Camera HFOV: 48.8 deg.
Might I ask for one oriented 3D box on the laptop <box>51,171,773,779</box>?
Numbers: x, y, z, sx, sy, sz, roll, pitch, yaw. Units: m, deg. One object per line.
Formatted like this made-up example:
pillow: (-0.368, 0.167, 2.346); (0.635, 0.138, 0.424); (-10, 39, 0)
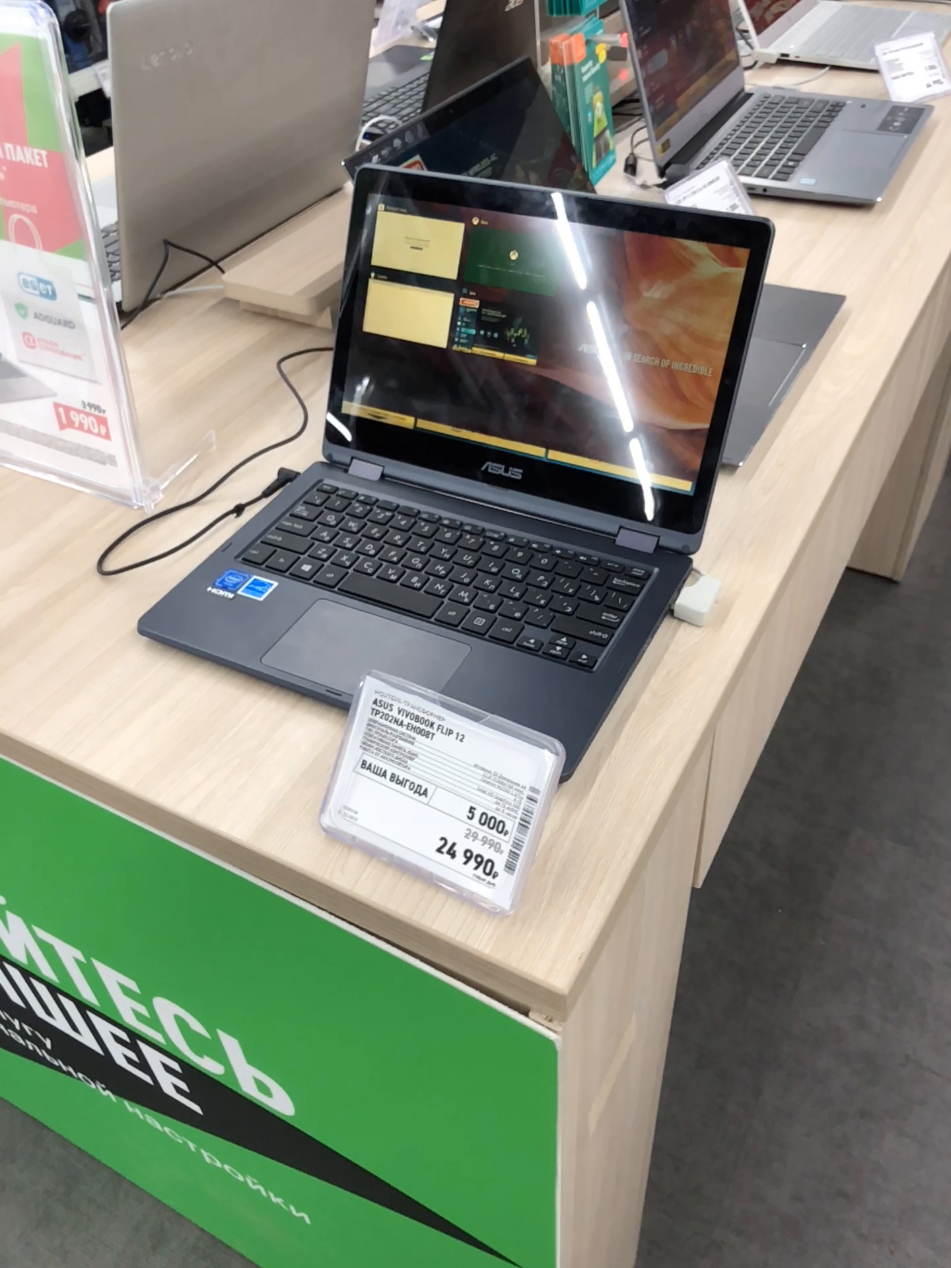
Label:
laptop: (-0.014, -0.115, 0.597); (0.270, 0.166, 0.281); (18, 46, 21)

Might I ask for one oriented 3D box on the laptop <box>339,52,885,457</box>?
laptop: (0.108, -0.303, 0.794); (0.299, 0.162, 0.262); (19, 47, 22)
